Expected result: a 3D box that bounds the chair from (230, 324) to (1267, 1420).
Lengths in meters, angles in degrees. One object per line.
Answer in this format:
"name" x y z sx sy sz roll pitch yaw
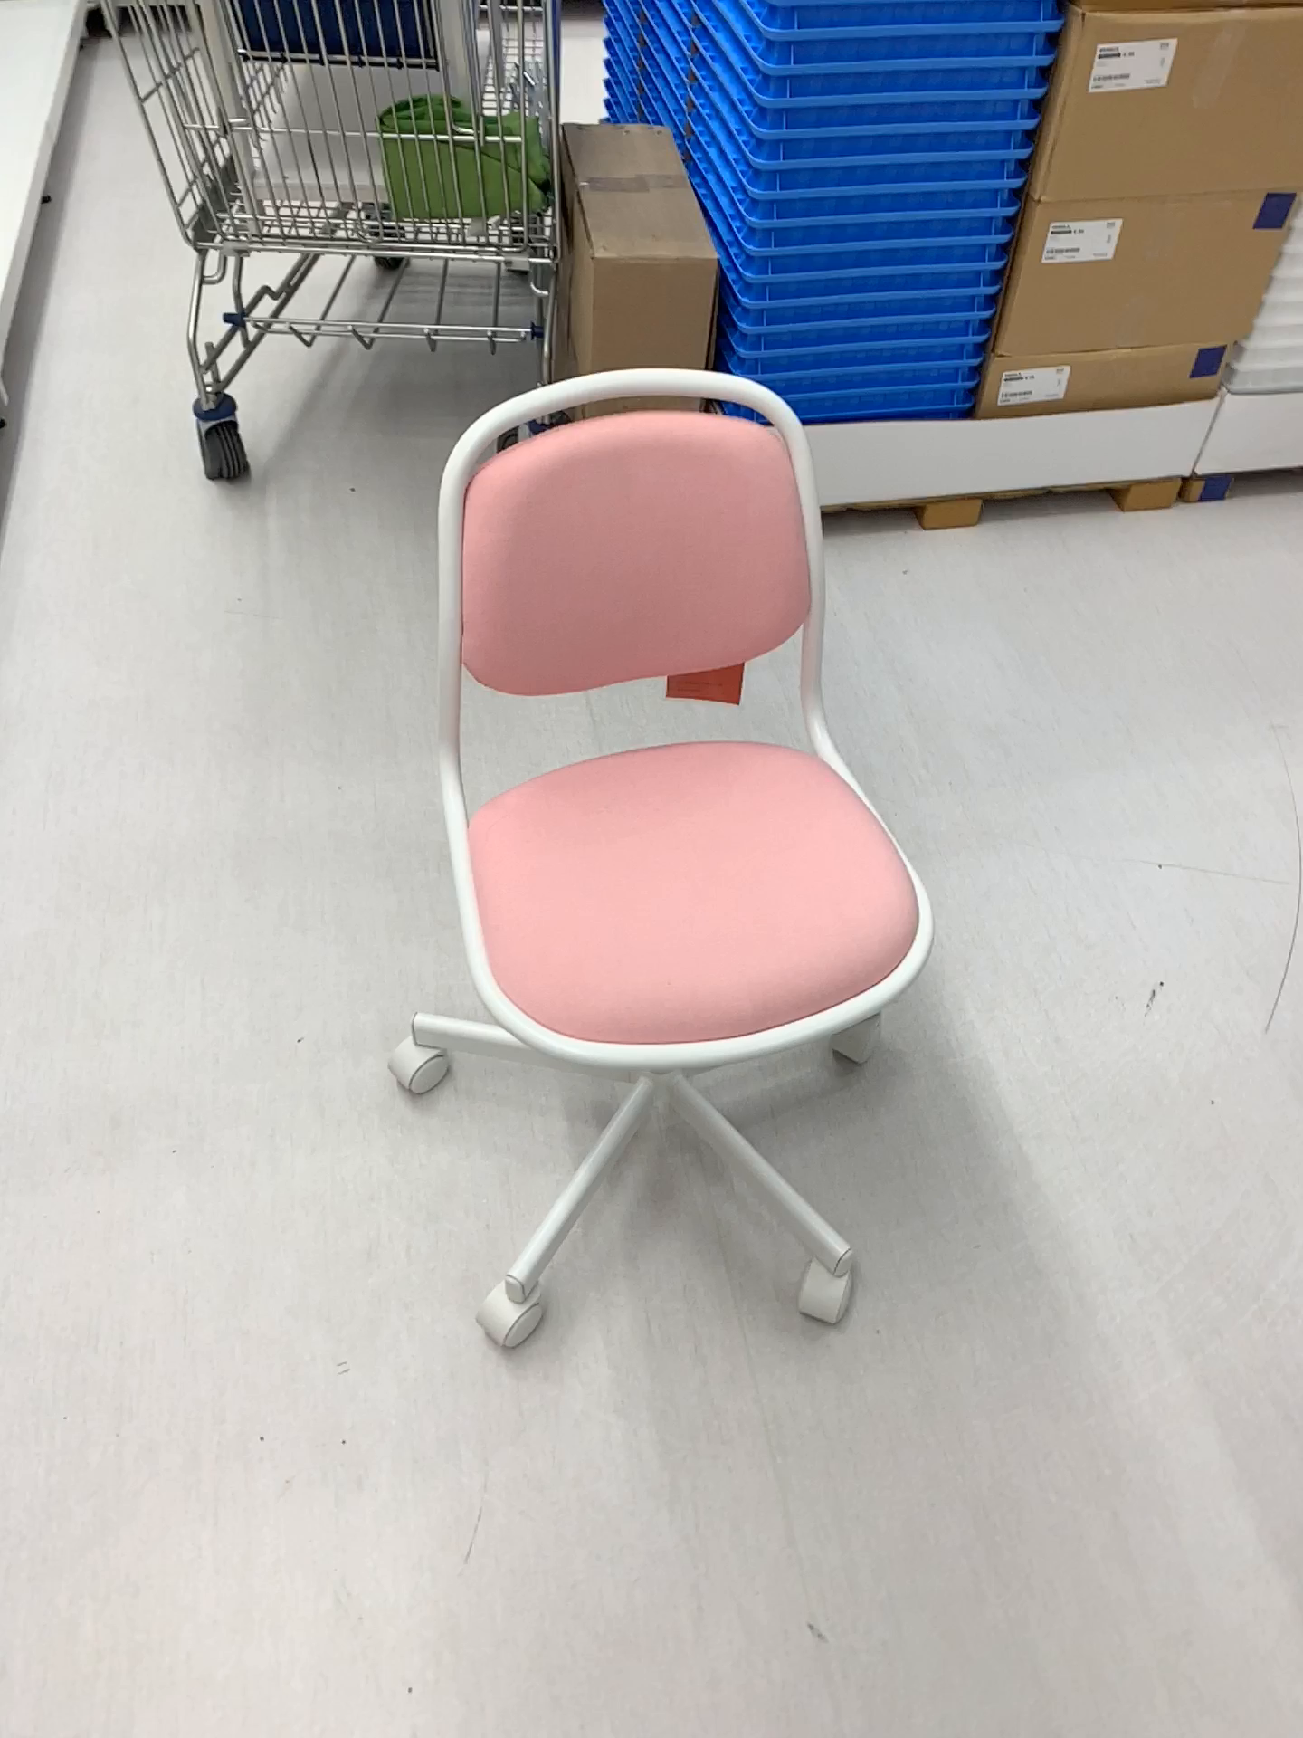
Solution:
"chair" 0.007 0.020 1.138 0.560 0.698 0.532 -9 49 -10
